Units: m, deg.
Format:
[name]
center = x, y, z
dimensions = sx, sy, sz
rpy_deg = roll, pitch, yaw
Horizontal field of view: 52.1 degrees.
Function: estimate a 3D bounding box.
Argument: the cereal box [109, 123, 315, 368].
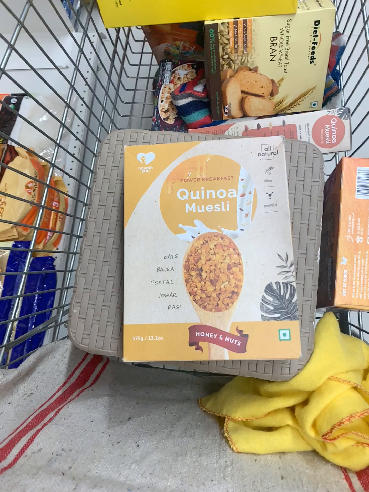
[cereal box]
center = 0.021, 0.004, 0.353
dimensions = 0.160, 0.080, 0.200
rpy_deg = -3, 79, 6
